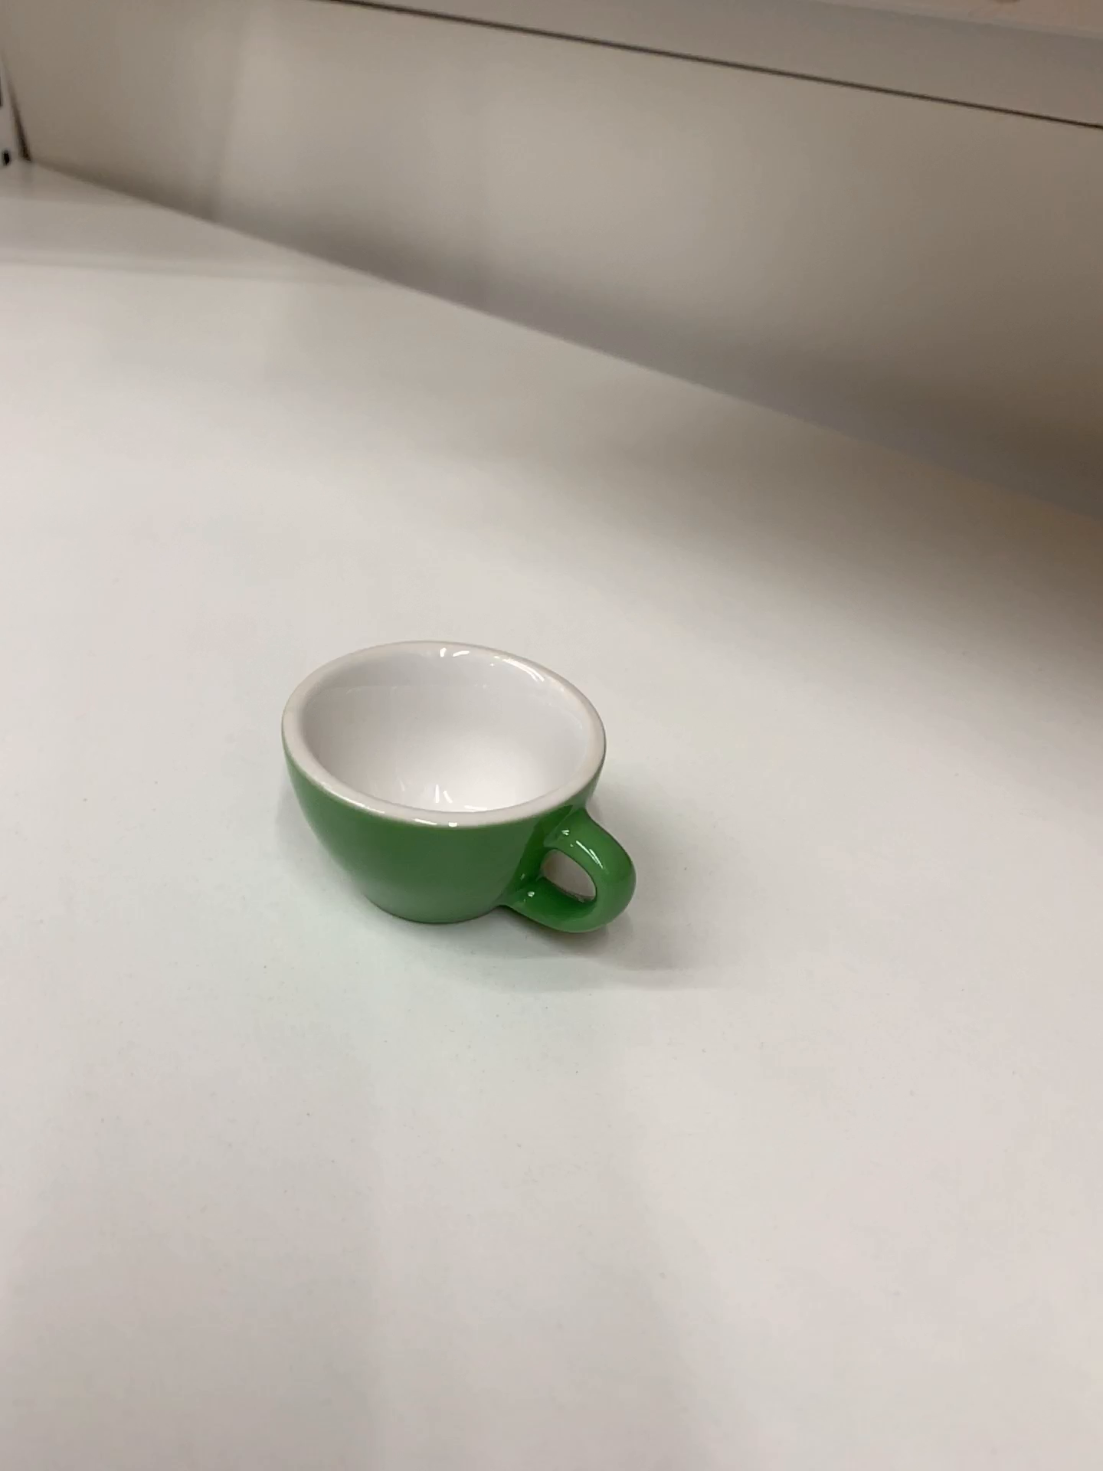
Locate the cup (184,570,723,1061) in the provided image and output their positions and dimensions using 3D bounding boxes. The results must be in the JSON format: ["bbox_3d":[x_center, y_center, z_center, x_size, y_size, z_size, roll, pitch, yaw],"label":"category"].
[{"bbox_3d":[-0.018,0.009,0.208,0.070,0.040,0.060,27,39,27],"label":"cup"}]
